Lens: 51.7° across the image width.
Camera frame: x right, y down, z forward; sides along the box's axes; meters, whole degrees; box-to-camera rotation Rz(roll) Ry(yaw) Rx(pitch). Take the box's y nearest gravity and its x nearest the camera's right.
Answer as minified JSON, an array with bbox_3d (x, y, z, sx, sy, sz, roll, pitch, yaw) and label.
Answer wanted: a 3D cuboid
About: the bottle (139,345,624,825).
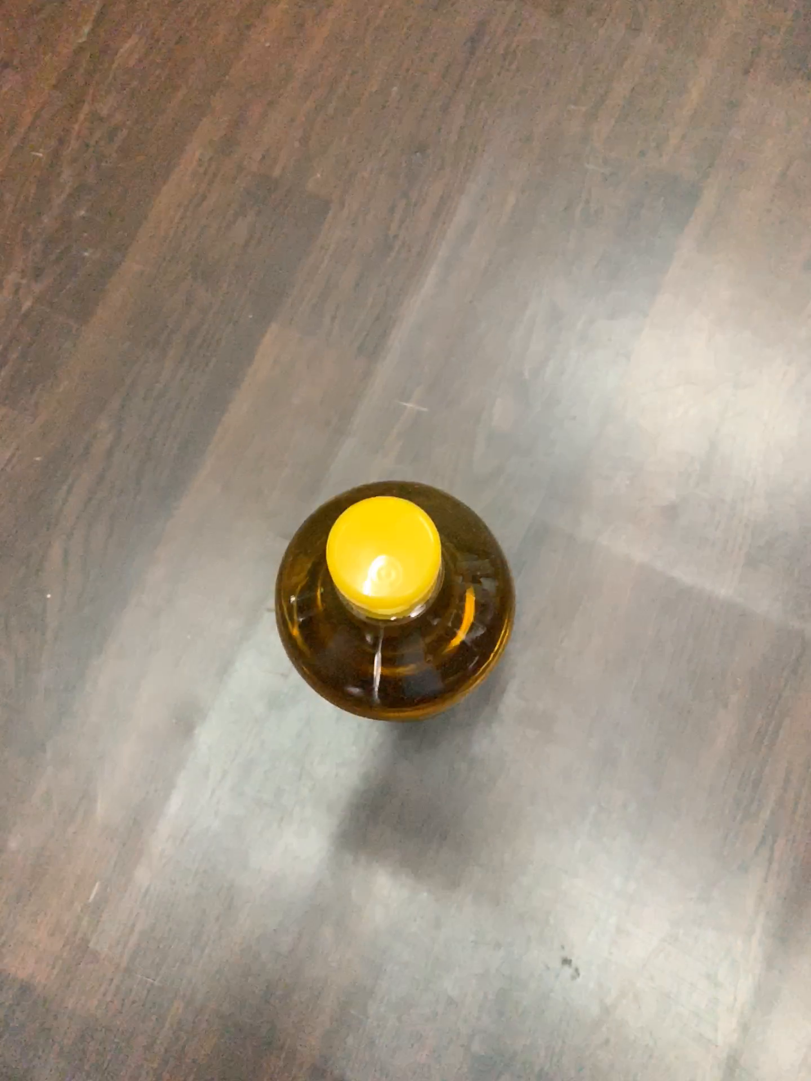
[{"bbox_3d":[-0.004,0.032,0.326,0.090,0.220,0.090,0,77,2],"label":"bottle"}]
